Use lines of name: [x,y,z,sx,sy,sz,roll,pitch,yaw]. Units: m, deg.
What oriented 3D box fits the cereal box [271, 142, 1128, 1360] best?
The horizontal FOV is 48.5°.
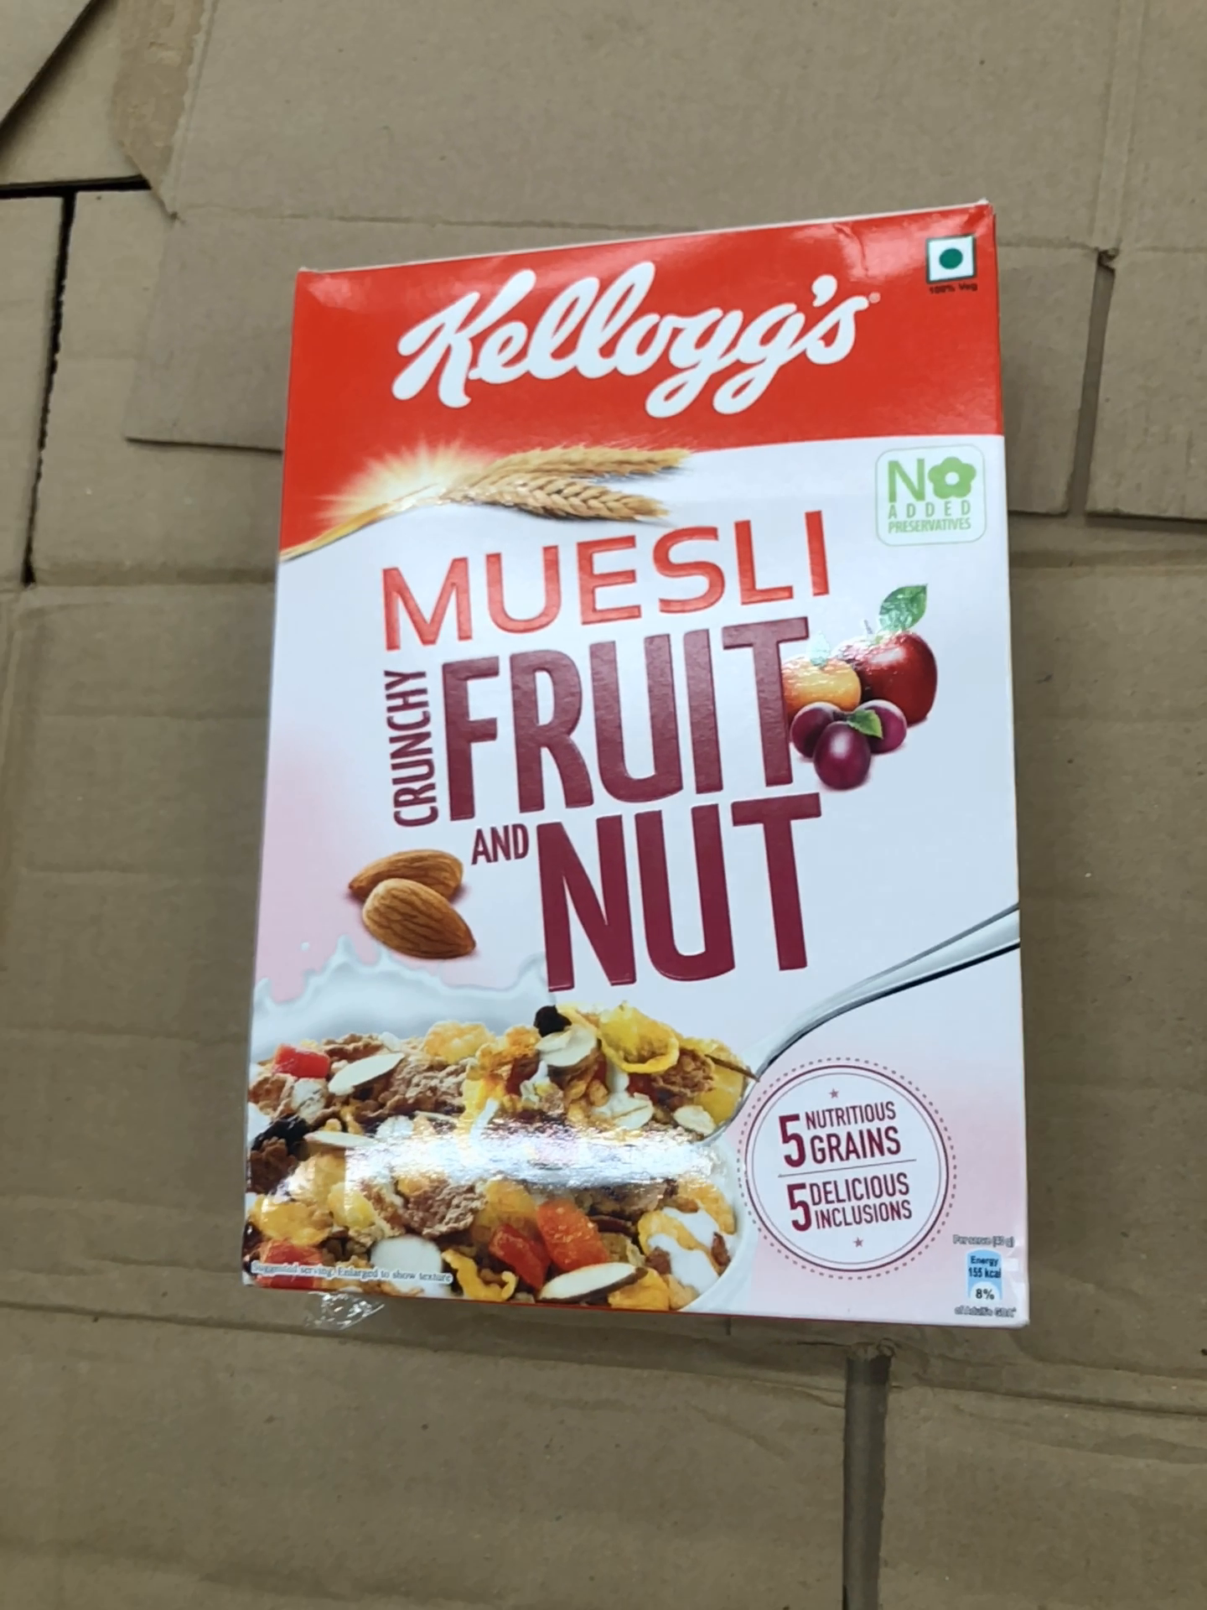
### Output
cereal box: [0.023,-0.012,0.324,0.170,0.080,0.250,-2,80,11]
